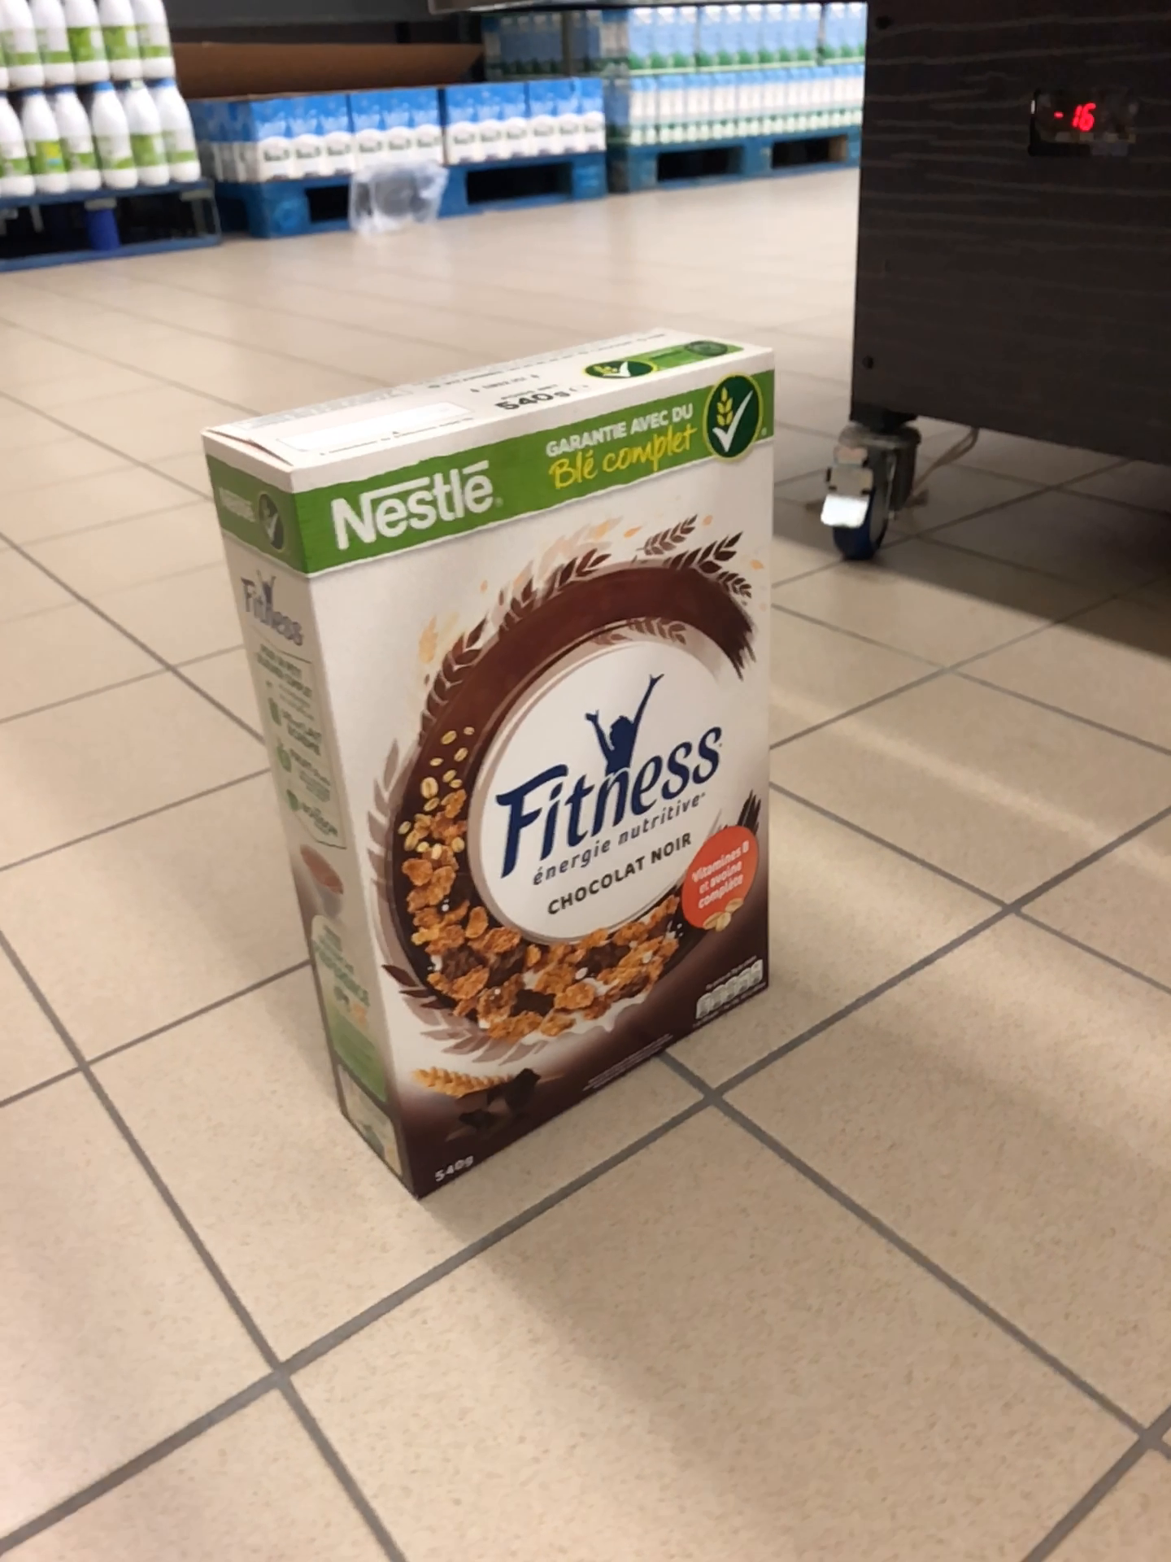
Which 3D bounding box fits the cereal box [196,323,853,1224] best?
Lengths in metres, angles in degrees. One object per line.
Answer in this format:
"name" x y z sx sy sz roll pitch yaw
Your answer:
"cereal box" -0.004 -0.008 0.495 0.211 0.278 0.080 -24 34 -30
